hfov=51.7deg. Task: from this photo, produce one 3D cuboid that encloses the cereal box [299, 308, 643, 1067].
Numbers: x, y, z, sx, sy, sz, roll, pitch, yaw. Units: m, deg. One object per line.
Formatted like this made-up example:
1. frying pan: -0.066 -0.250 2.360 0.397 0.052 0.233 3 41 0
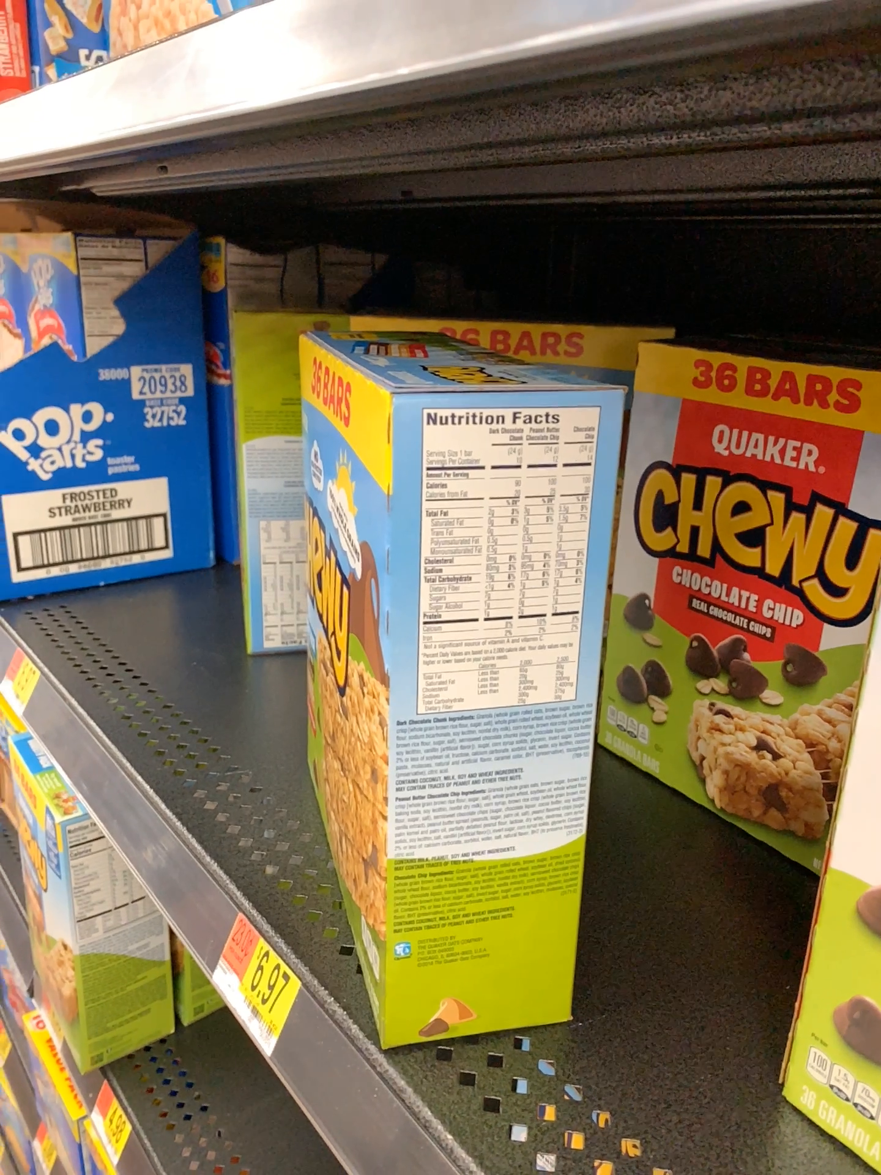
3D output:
1. cereal box: -0.010 0.015 0.364 0.070 0.229 0.201 -3 20 -14
